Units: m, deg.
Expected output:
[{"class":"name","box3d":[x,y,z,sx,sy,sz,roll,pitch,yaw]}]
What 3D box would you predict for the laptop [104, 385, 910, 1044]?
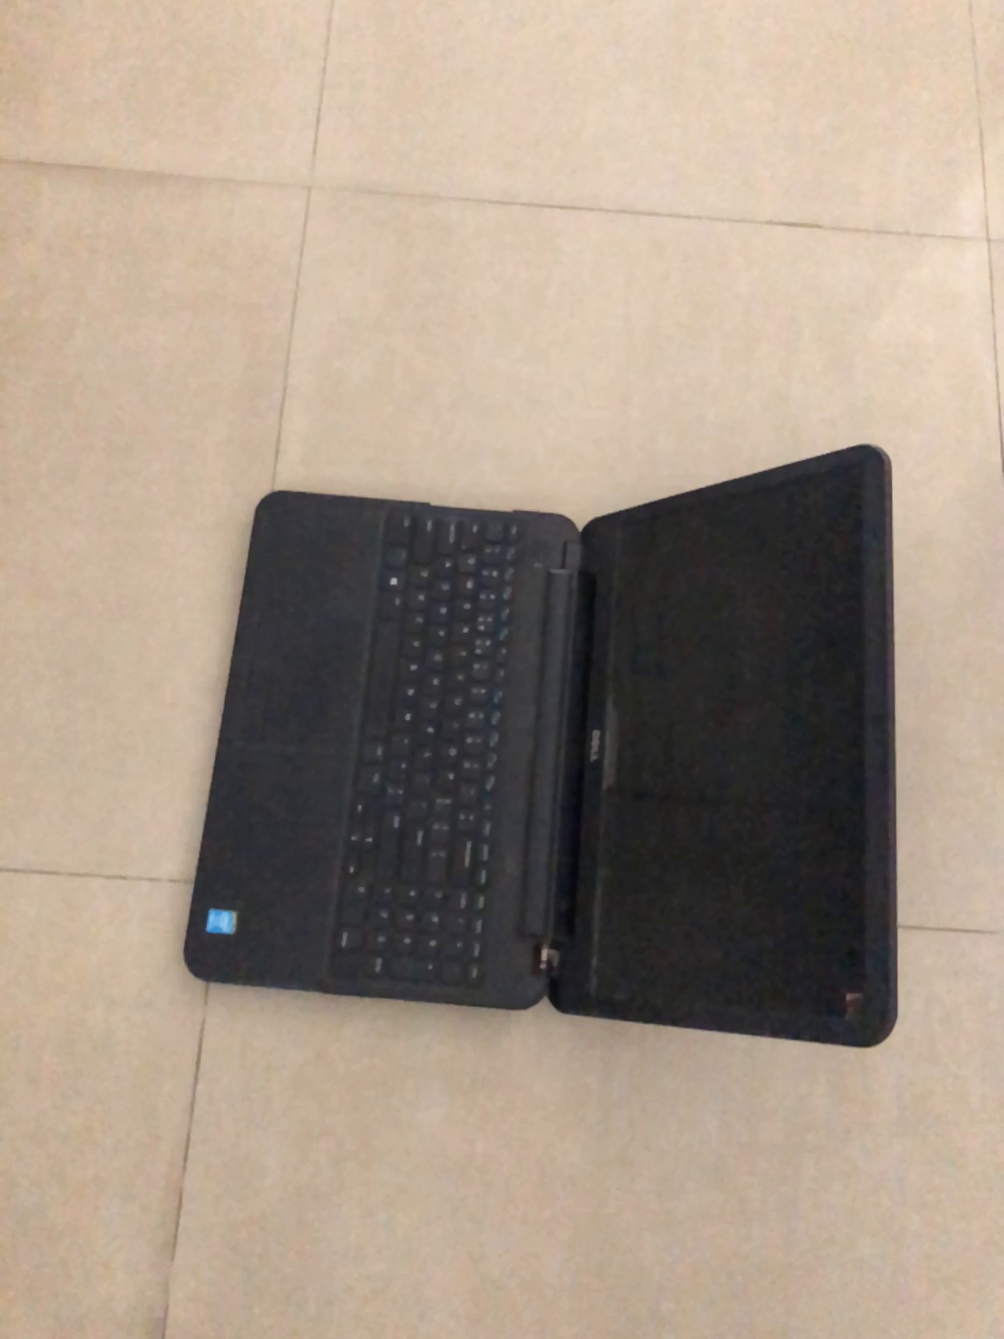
[{"class":"laptop","box3d":[0.015,0.032,0.714,0.427,0.164,0.358,5,74,1]}]
